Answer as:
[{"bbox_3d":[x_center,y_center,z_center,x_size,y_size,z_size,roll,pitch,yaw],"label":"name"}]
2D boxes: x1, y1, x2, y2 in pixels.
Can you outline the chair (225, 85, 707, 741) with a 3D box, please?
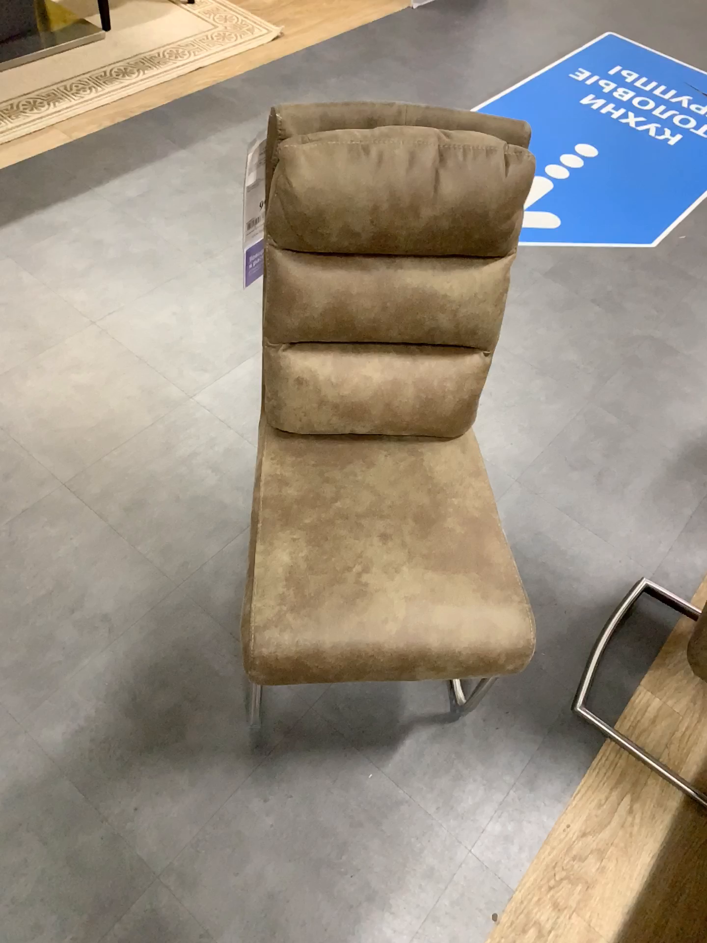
[{"bbox_3d":[0.055,0.000,1.258,0.500,0.996,0.602,0,53,-8],"label":"chair"}]
